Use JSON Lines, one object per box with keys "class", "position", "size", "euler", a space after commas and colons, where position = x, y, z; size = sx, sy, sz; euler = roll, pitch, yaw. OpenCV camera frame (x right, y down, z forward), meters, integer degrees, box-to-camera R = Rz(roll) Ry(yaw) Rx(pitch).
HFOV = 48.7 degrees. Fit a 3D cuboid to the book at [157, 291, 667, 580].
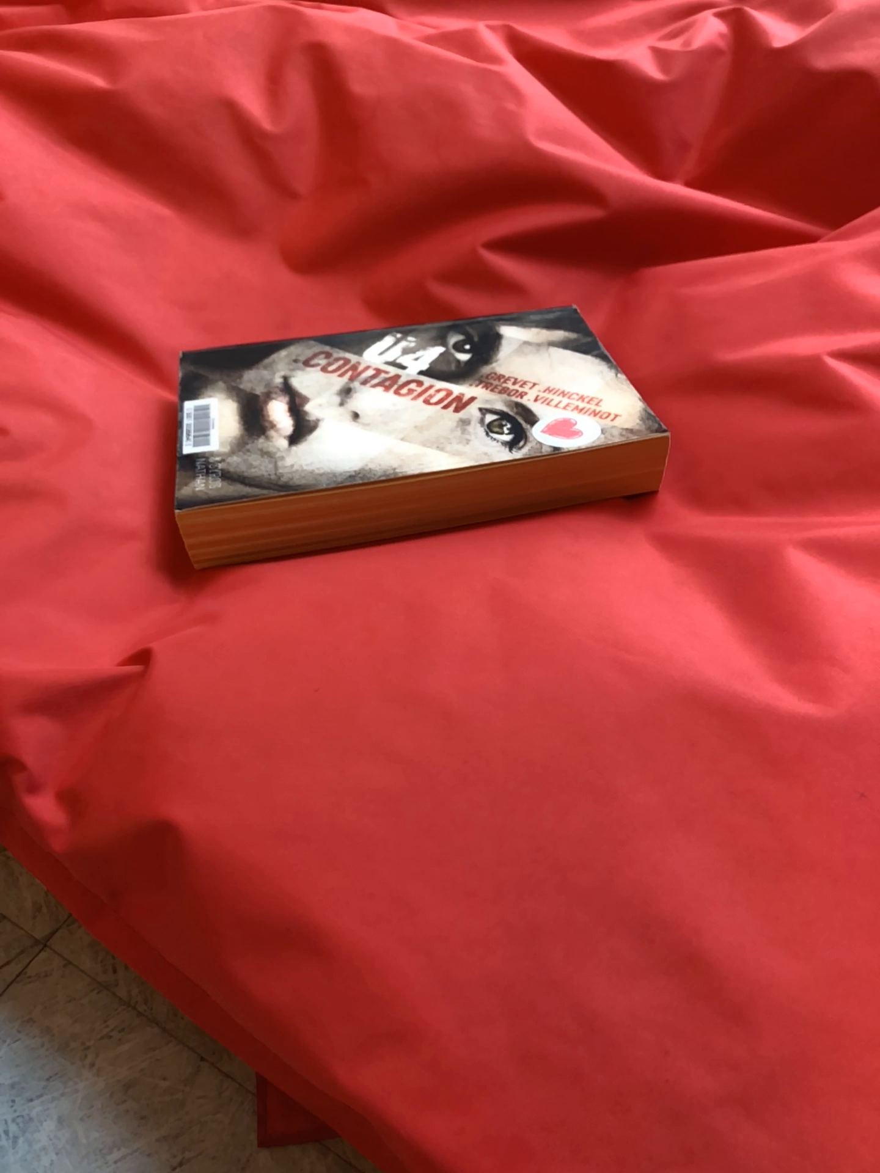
{"class": "book", "position": [-0.023, -0.087, 0.497], "size": [0.225, 0.038, 0.167], "euler": [-9, 39, -7]}
